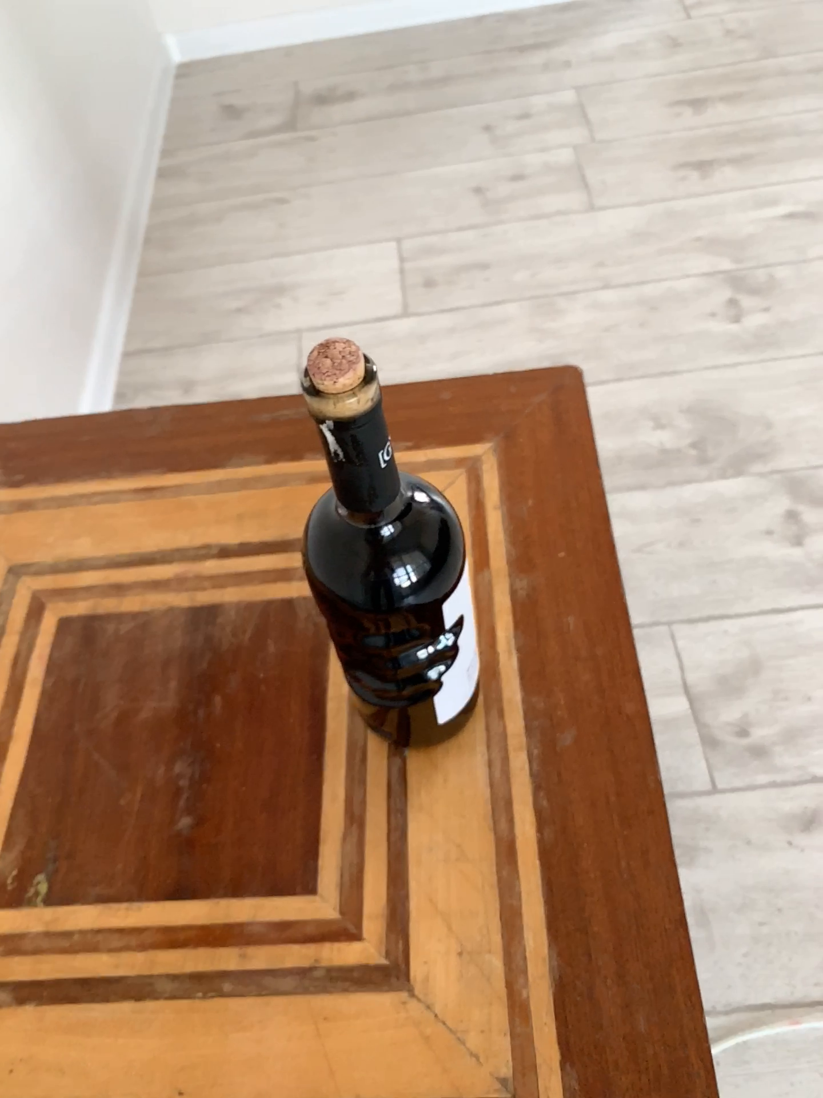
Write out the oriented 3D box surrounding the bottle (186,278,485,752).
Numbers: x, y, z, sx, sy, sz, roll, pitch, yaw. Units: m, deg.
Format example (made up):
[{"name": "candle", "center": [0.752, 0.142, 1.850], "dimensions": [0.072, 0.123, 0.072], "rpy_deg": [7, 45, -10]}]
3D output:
[{"name": "bottle", "center": [-0.017, 0.008, 0.428], "dimensions": [0.090, 0.269, 0.090], "rpy_deg": [-4, 55, 6]}]
